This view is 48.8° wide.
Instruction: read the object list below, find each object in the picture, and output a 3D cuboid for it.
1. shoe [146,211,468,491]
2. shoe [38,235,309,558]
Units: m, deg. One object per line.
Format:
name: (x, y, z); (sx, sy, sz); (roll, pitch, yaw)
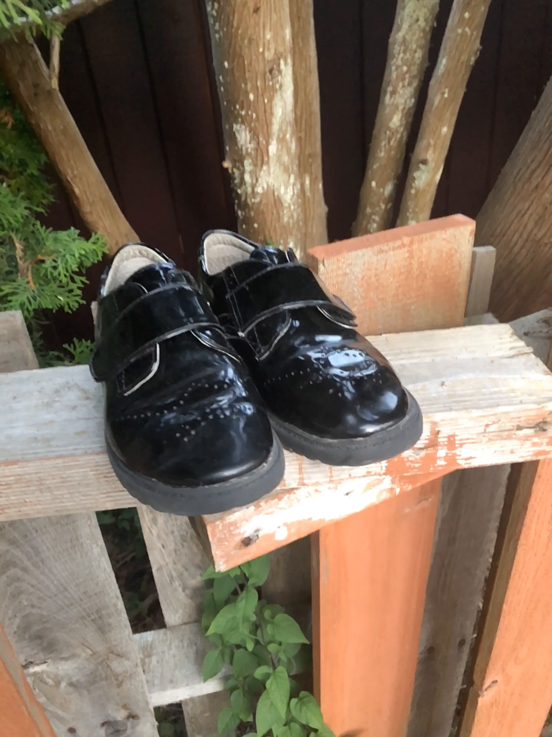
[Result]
shoe: (0.002, -0.032, 0.388); (0.090, 0.070, 0.231); (-18, 33, -22)
shoe: (-0.077, -0.008, 0.373); (0.090, 0.070, 0.242); (-16, 32, -20)
